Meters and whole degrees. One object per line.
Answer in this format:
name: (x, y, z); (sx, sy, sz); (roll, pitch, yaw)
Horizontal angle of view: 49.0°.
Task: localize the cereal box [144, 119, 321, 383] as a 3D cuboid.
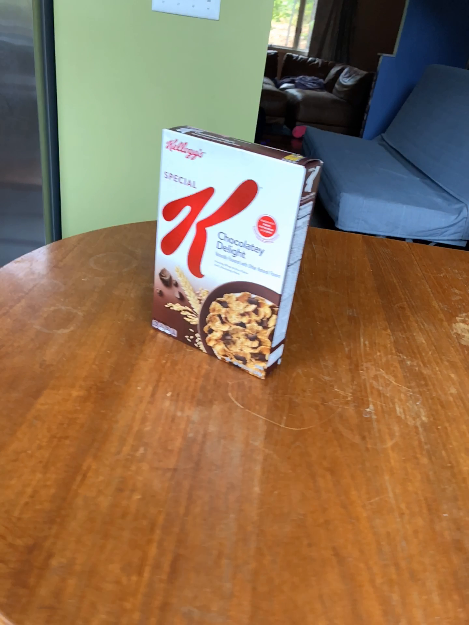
cereal box: (-0.018, -0.077, 0.665); (0.200, 0.288, 0.050); (23, 32, 25)
